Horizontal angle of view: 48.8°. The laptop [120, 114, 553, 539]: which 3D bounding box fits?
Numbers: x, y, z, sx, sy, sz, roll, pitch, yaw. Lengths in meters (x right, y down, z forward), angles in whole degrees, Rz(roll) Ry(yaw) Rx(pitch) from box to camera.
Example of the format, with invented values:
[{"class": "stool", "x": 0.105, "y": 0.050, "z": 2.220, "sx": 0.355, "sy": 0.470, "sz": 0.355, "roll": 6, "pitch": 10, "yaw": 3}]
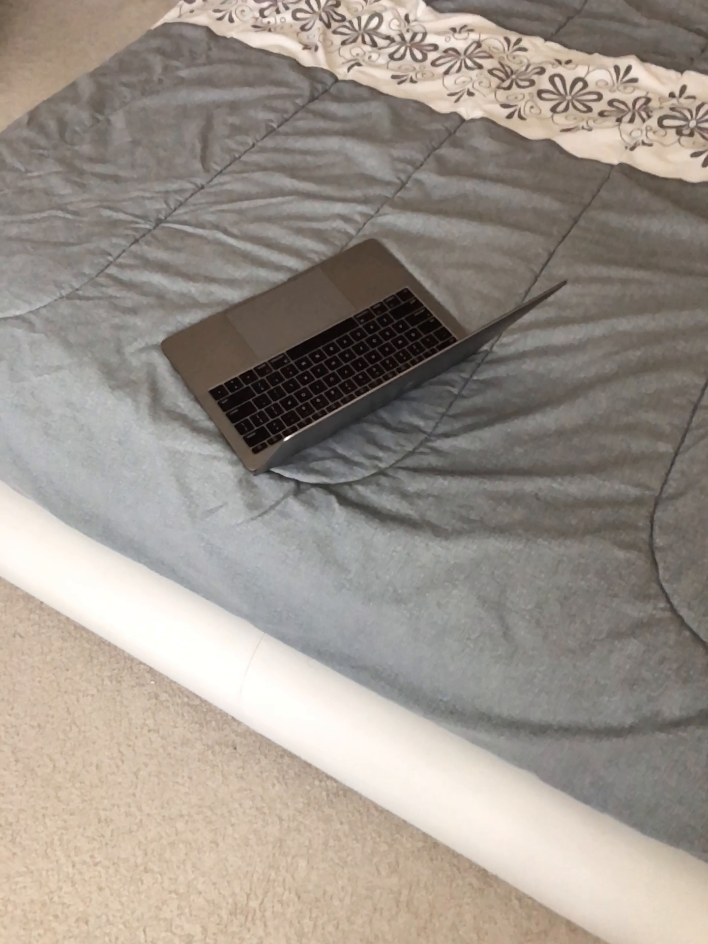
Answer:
[{"class": "laptop", "x": -0.018, "y": -0.151, "z": 0.760, "sx": 0.279, "sy": 0.159, "sz": 0.282, "roll": -30, "pitch": 62, "yaw": -16}]
